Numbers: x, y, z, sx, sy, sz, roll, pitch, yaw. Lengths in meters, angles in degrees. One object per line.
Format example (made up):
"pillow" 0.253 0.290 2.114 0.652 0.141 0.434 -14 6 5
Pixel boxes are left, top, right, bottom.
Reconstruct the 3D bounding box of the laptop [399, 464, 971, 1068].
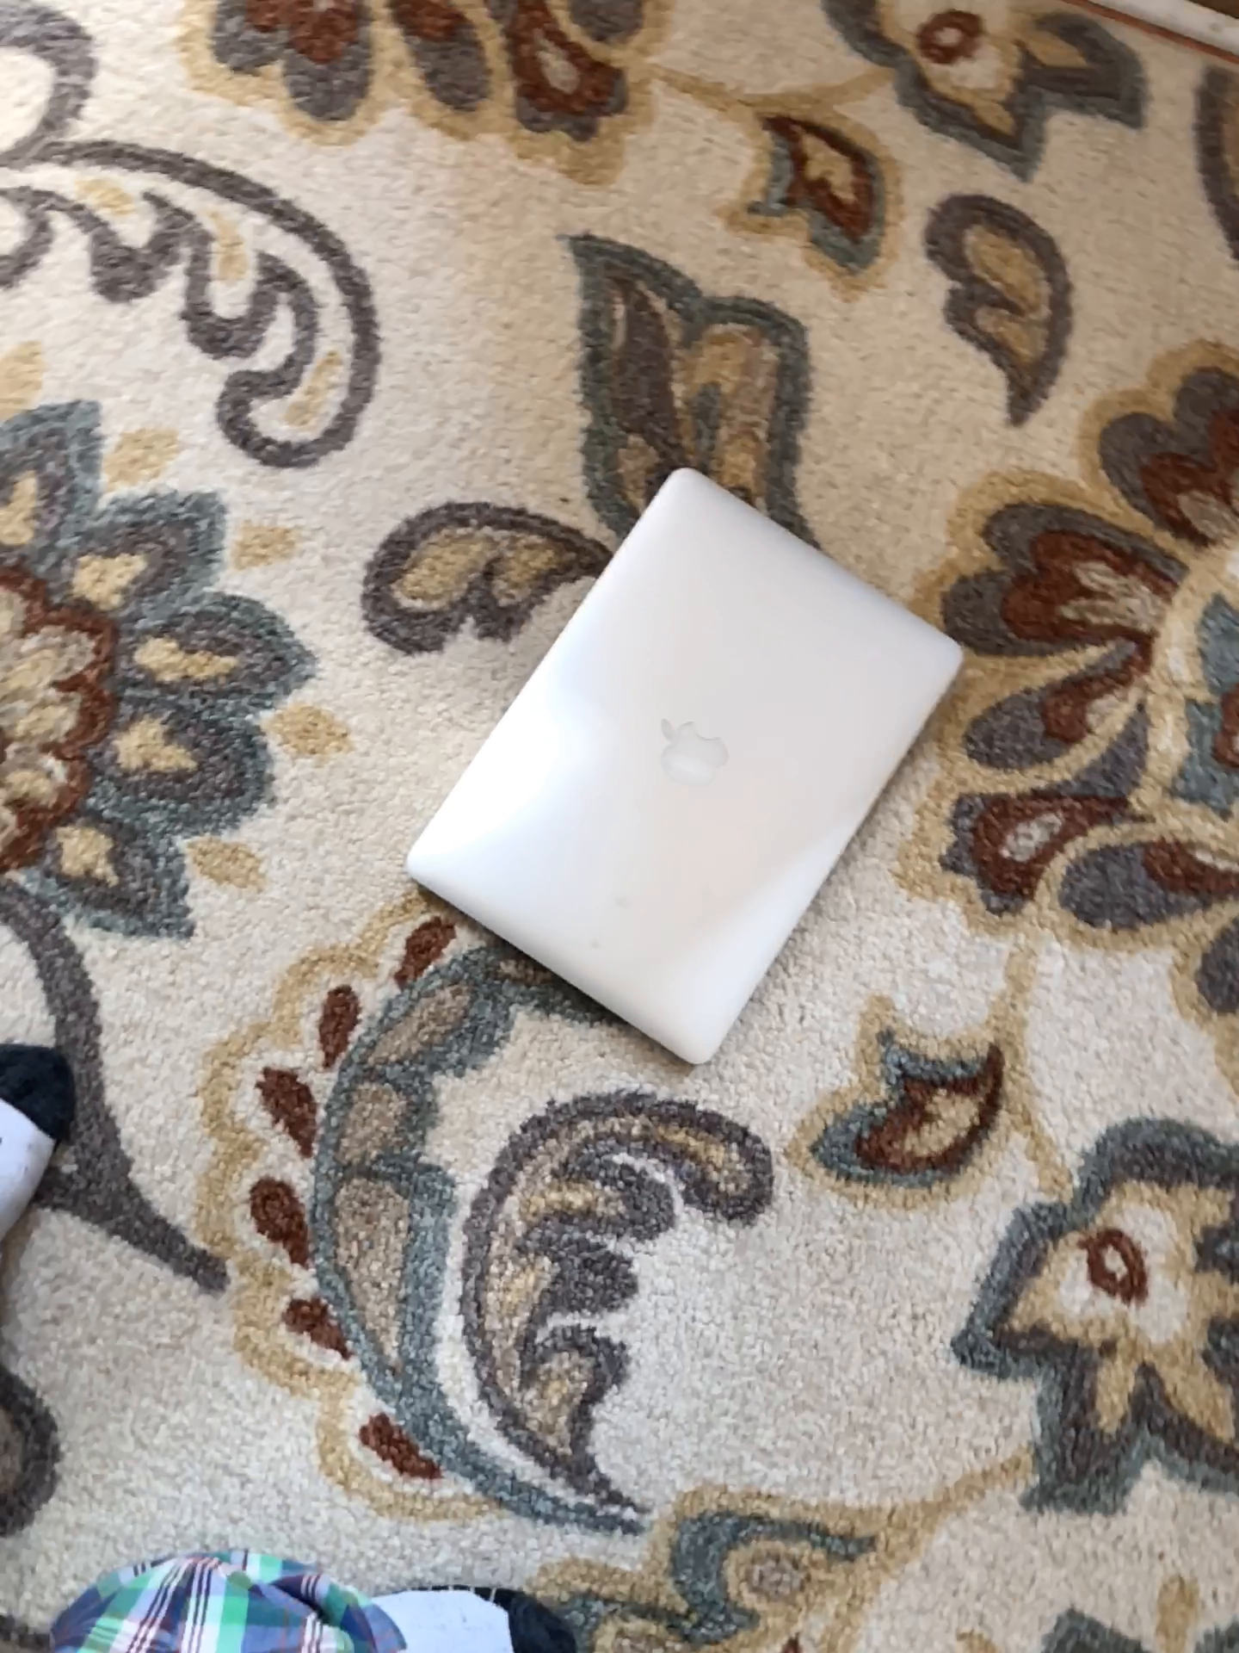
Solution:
"laptop" 0.043 -0.040 0.799 0.207 0.001 0.295 34 82 1
